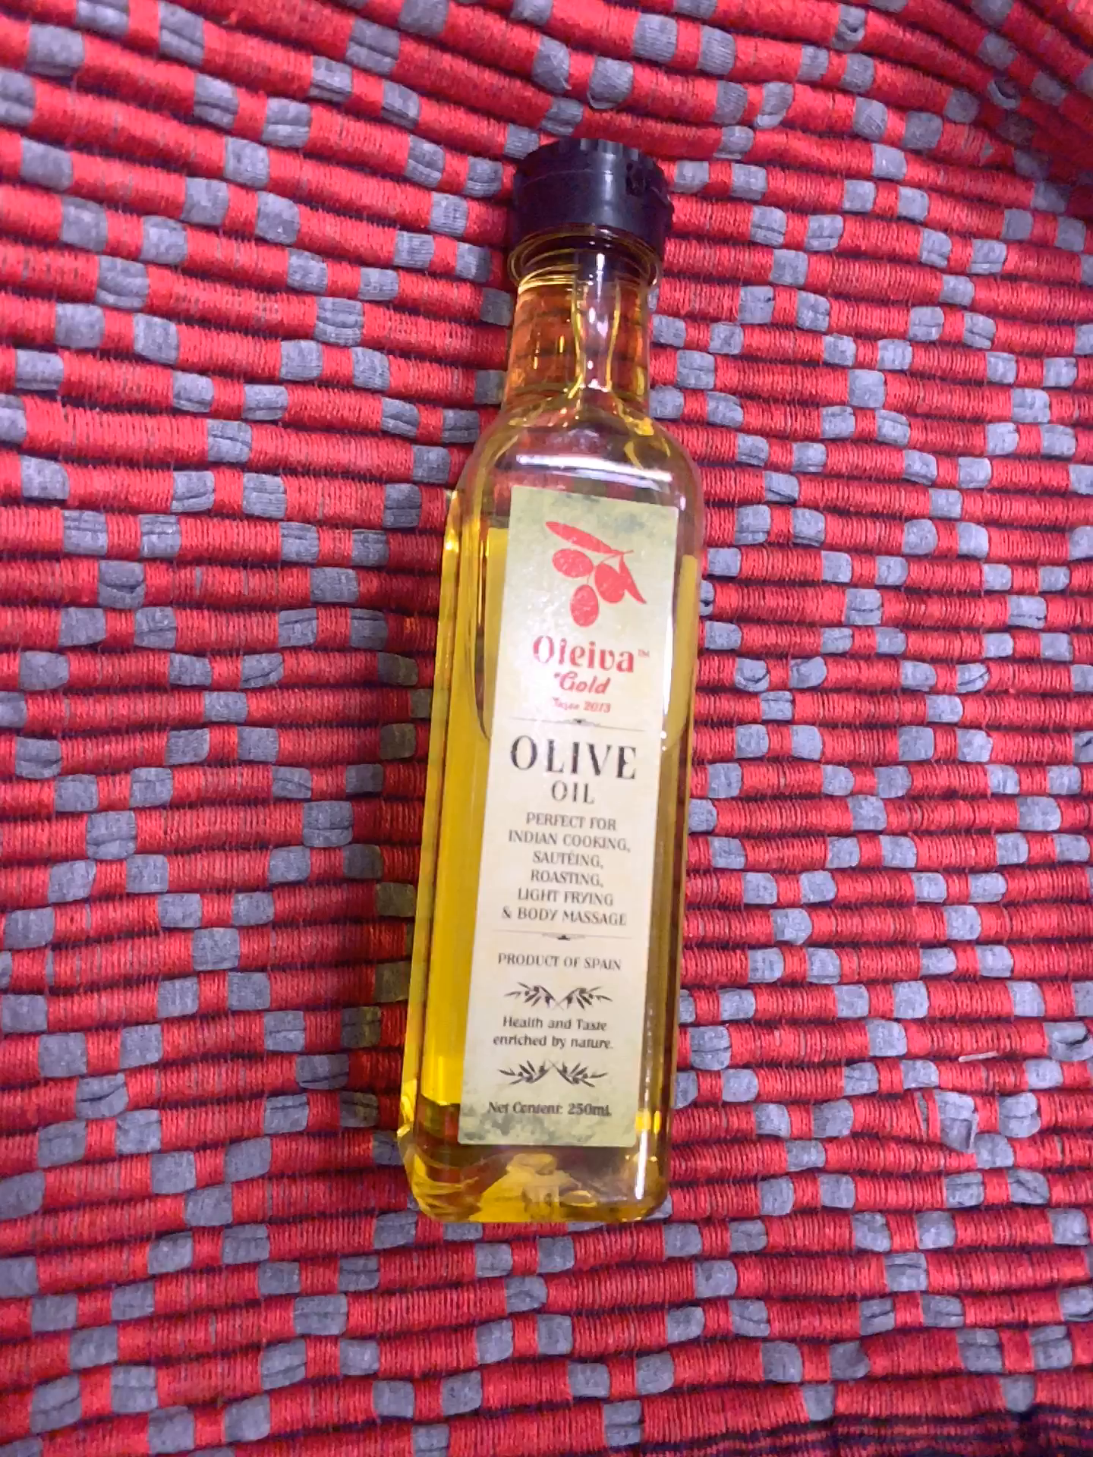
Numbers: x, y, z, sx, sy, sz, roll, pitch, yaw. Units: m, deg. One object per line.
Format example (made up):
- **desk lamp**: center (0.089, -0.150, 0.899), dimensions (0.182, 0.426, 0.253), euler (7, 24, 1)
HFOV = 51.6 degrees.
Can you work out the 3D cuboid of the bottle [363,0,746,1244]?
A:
- **bottle**: center (0.000, -0.022, 0.210), dimensions (0.050, 0.050, 0.210), euler (5, 83, -12)
